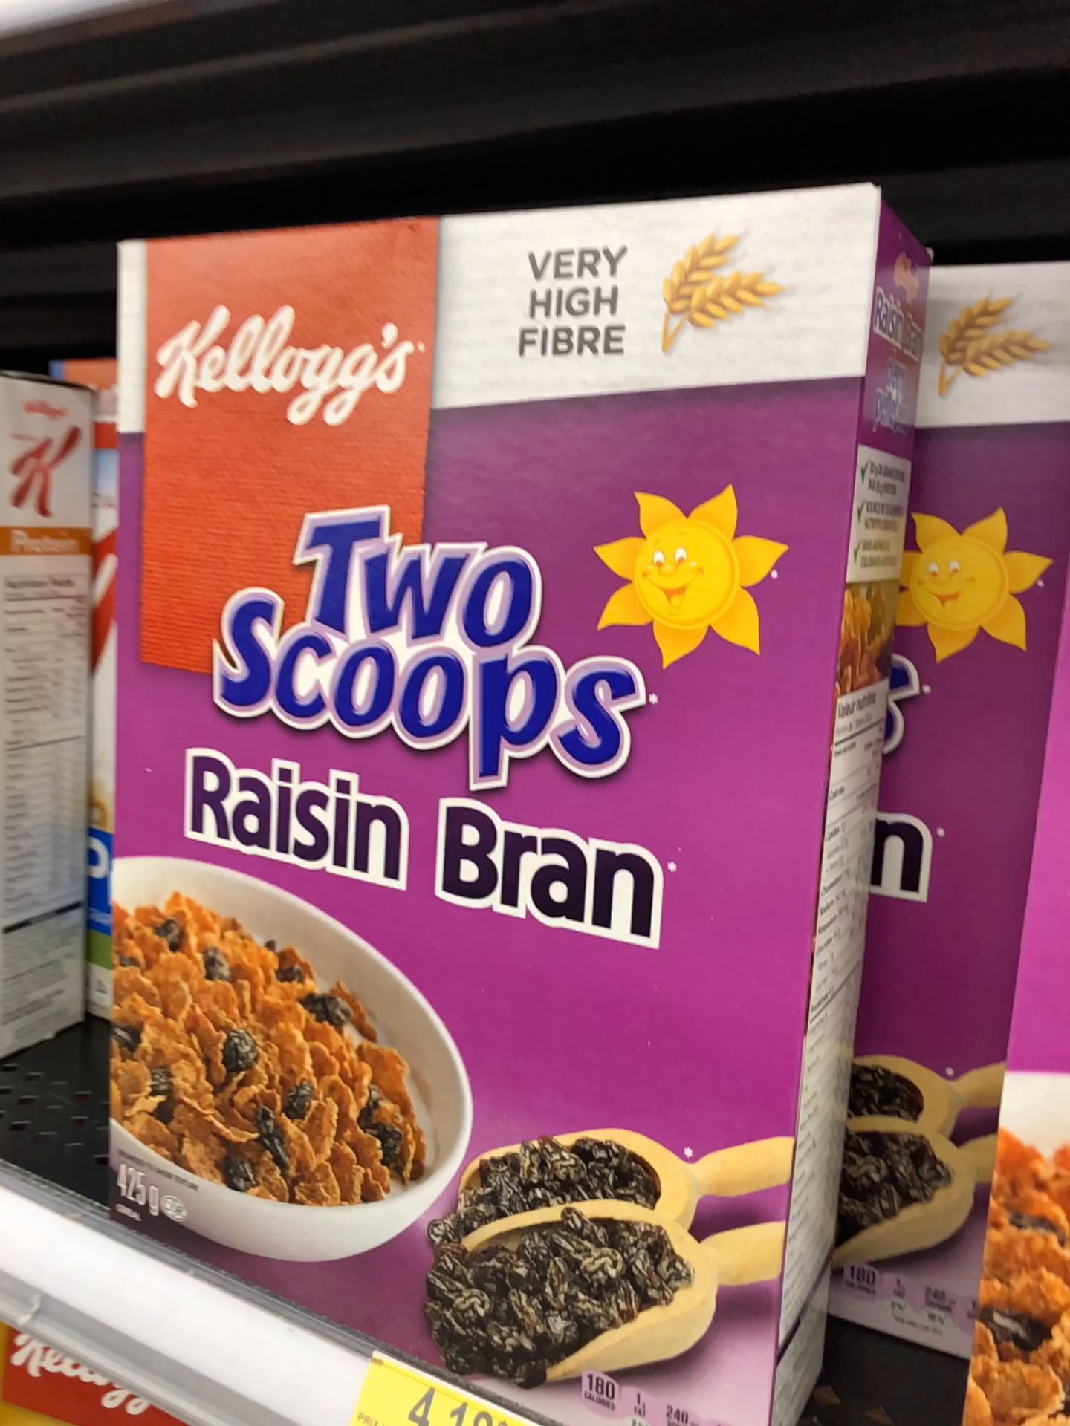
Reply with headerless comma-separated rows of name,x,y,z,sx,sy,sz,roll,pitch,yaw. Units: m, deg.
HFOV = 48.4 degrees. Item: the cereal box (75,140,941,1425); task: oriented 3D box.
cereal box,-0.022,0.018,0.294,0.200,0.269,0.050,8,10,27
